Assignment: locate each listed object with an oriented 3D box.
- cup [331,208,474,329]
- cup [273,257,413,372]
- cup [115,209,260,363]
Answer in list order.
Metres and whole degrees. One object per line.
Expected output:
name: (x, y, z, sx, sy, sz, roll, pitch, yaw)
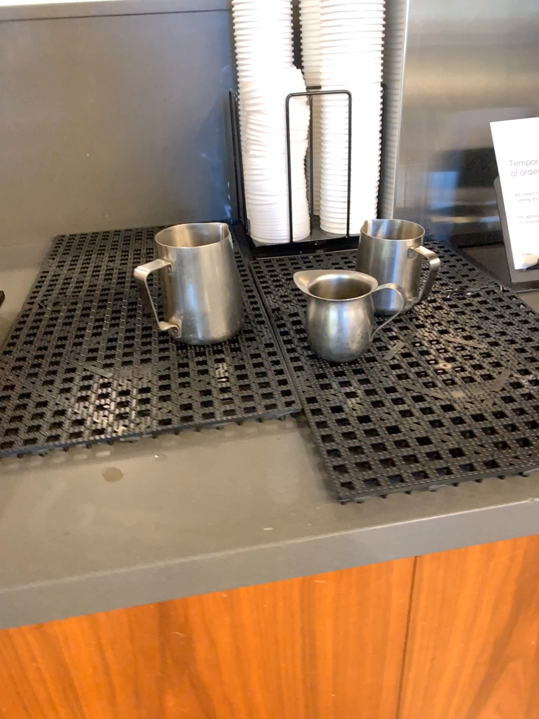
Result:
cup: (0.137, -0.104, 0.601, 0.080, 0.079, 0.131, -17, 33, -23)
cup: (0.069, -0.046, 0.521, 0.110, 0.070, 0.070, 11, 33, 23)
cup: (-0.077, -0.079, 0.563, 0.070, 0.109, 0.120, 19, 37, 33)
